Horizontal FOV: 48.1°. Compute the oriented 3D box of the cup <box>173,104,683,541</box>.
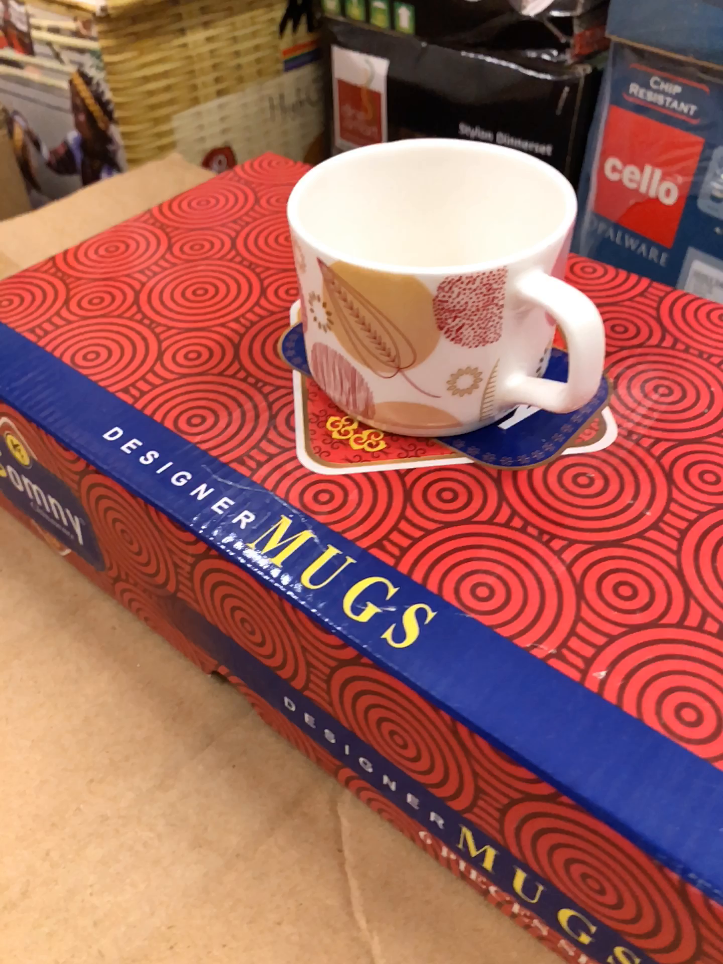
[{"bbox_3d":[0.013,-0.045,0.198,0.070,0.050,0.090,-35,55,-30],"label":"cup"}]
